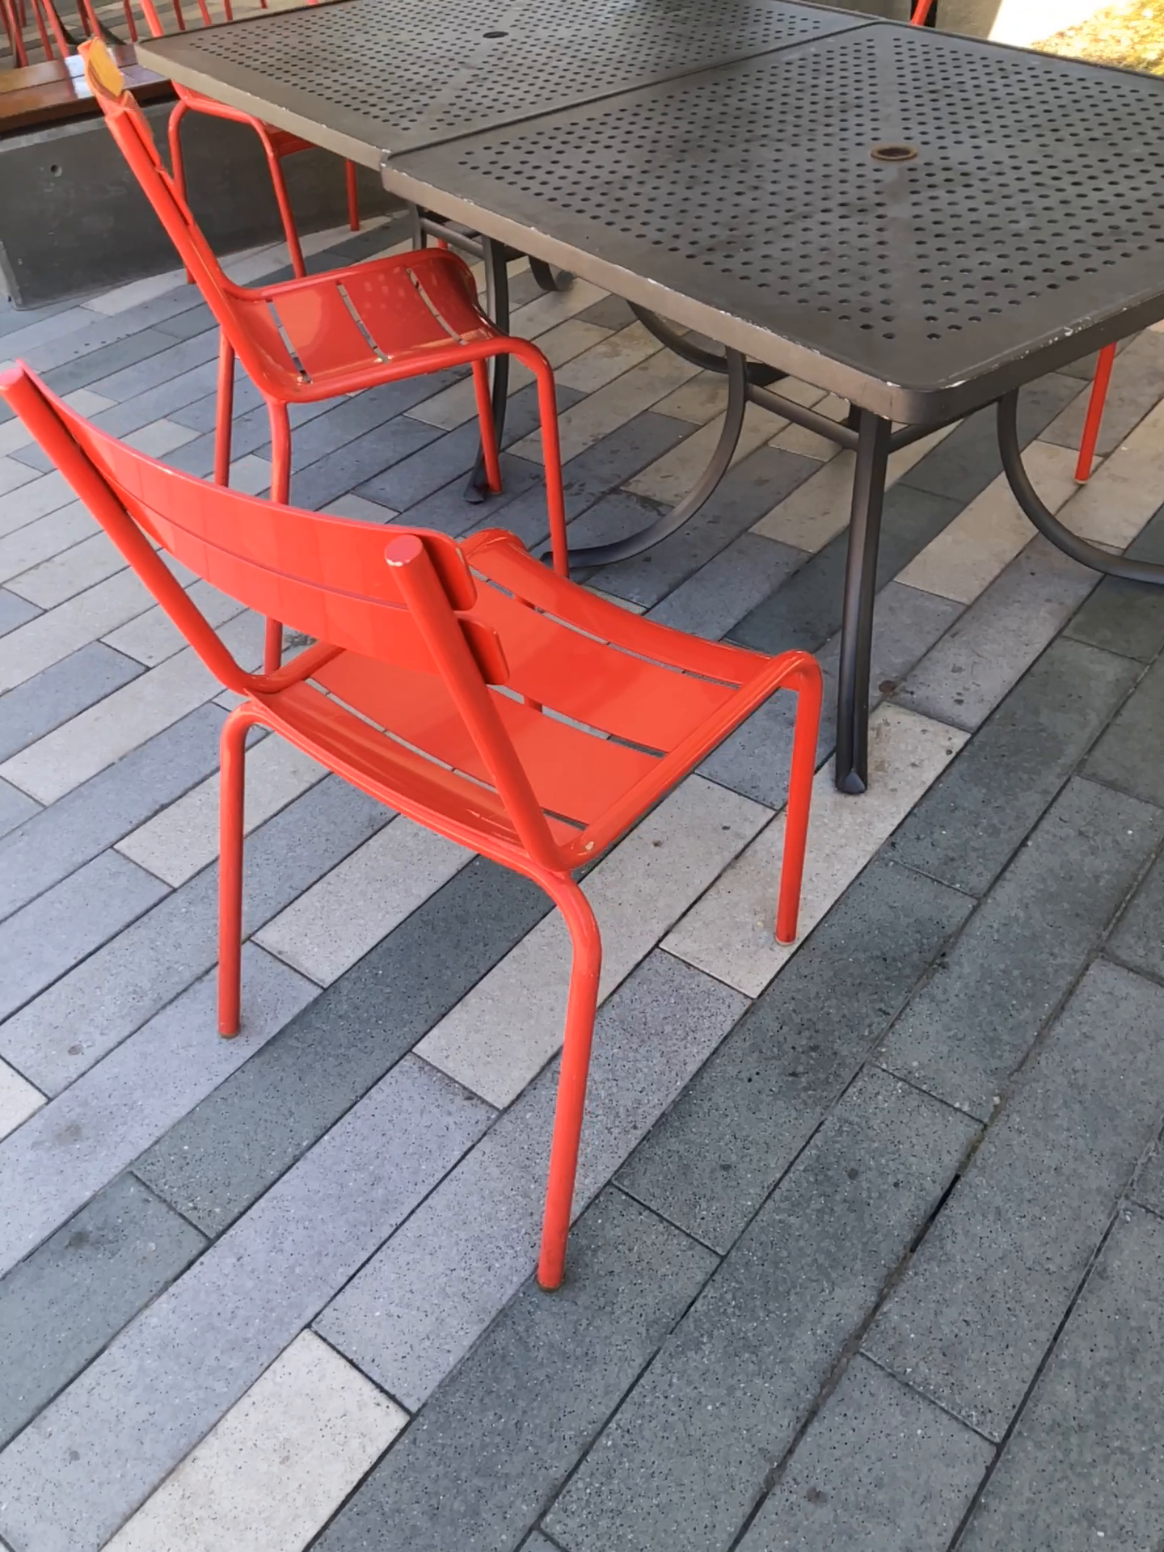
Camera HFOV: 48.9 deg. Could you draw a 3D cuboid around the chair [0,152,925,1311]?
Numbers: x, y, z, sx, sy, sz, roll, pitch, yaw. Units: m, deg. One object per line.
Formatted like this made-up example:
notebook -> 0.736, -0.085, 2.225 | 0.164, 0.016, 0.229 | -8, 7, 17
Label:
chair -> -0.098, -0.060, 1.427 | 0.612, 0.955, 0.631 | 26, 49, 31
